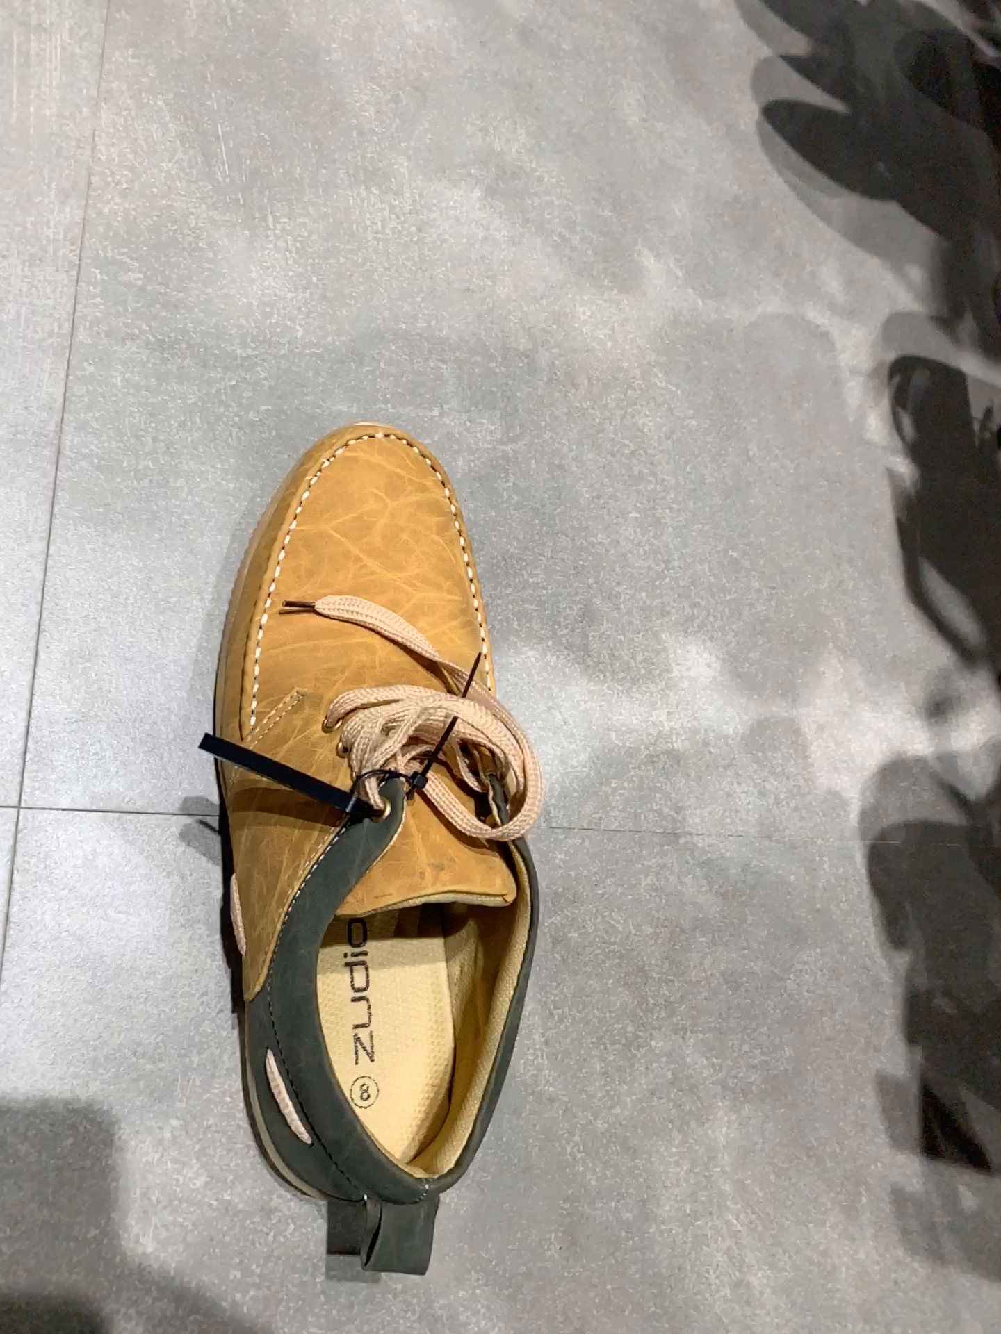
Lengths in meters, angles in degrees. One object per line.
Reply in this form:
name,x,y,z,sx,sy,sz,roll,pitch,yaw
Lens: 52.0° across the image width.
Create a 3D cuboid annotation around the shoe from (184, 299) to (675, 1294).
shoe,-0.036,0.037,0.347,0.111,0.117,0.267,5,71,-26
